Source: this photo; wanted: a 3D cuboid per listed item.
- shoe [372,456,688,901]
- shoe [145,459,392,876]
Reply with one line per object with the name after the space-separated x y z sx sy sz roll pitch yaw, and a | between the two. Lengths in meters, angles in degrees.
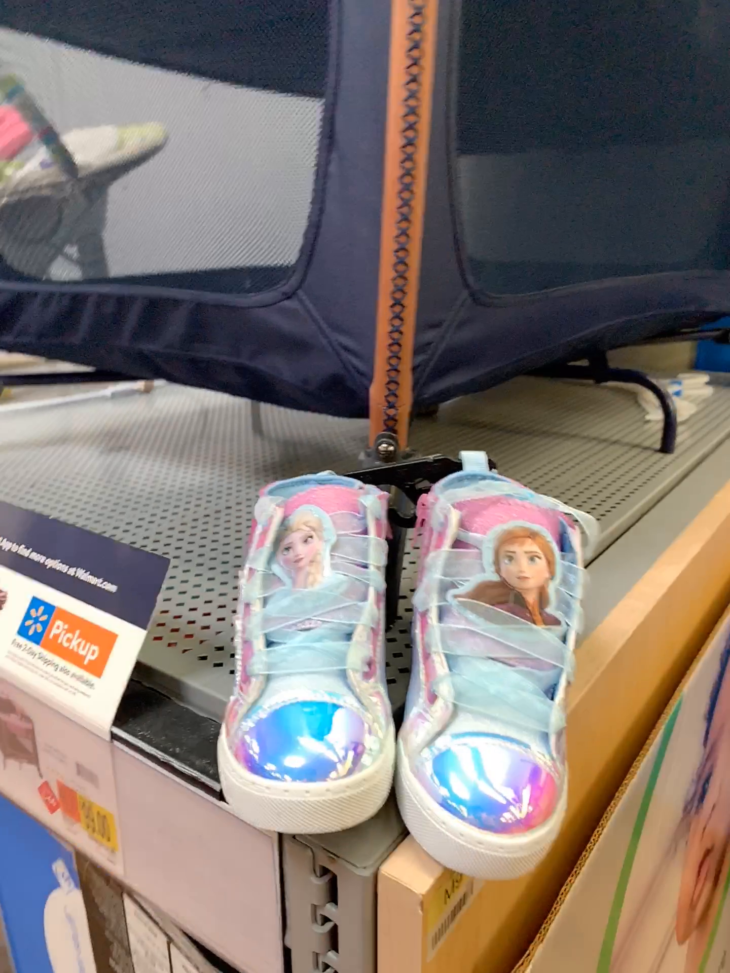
0.056 0.065 0.339 0.089 0.102 0.183 6 19 1 | shoe
-0.028 0.063 0.344 0.079 0.102 0.183 0 18 2 | shoe
